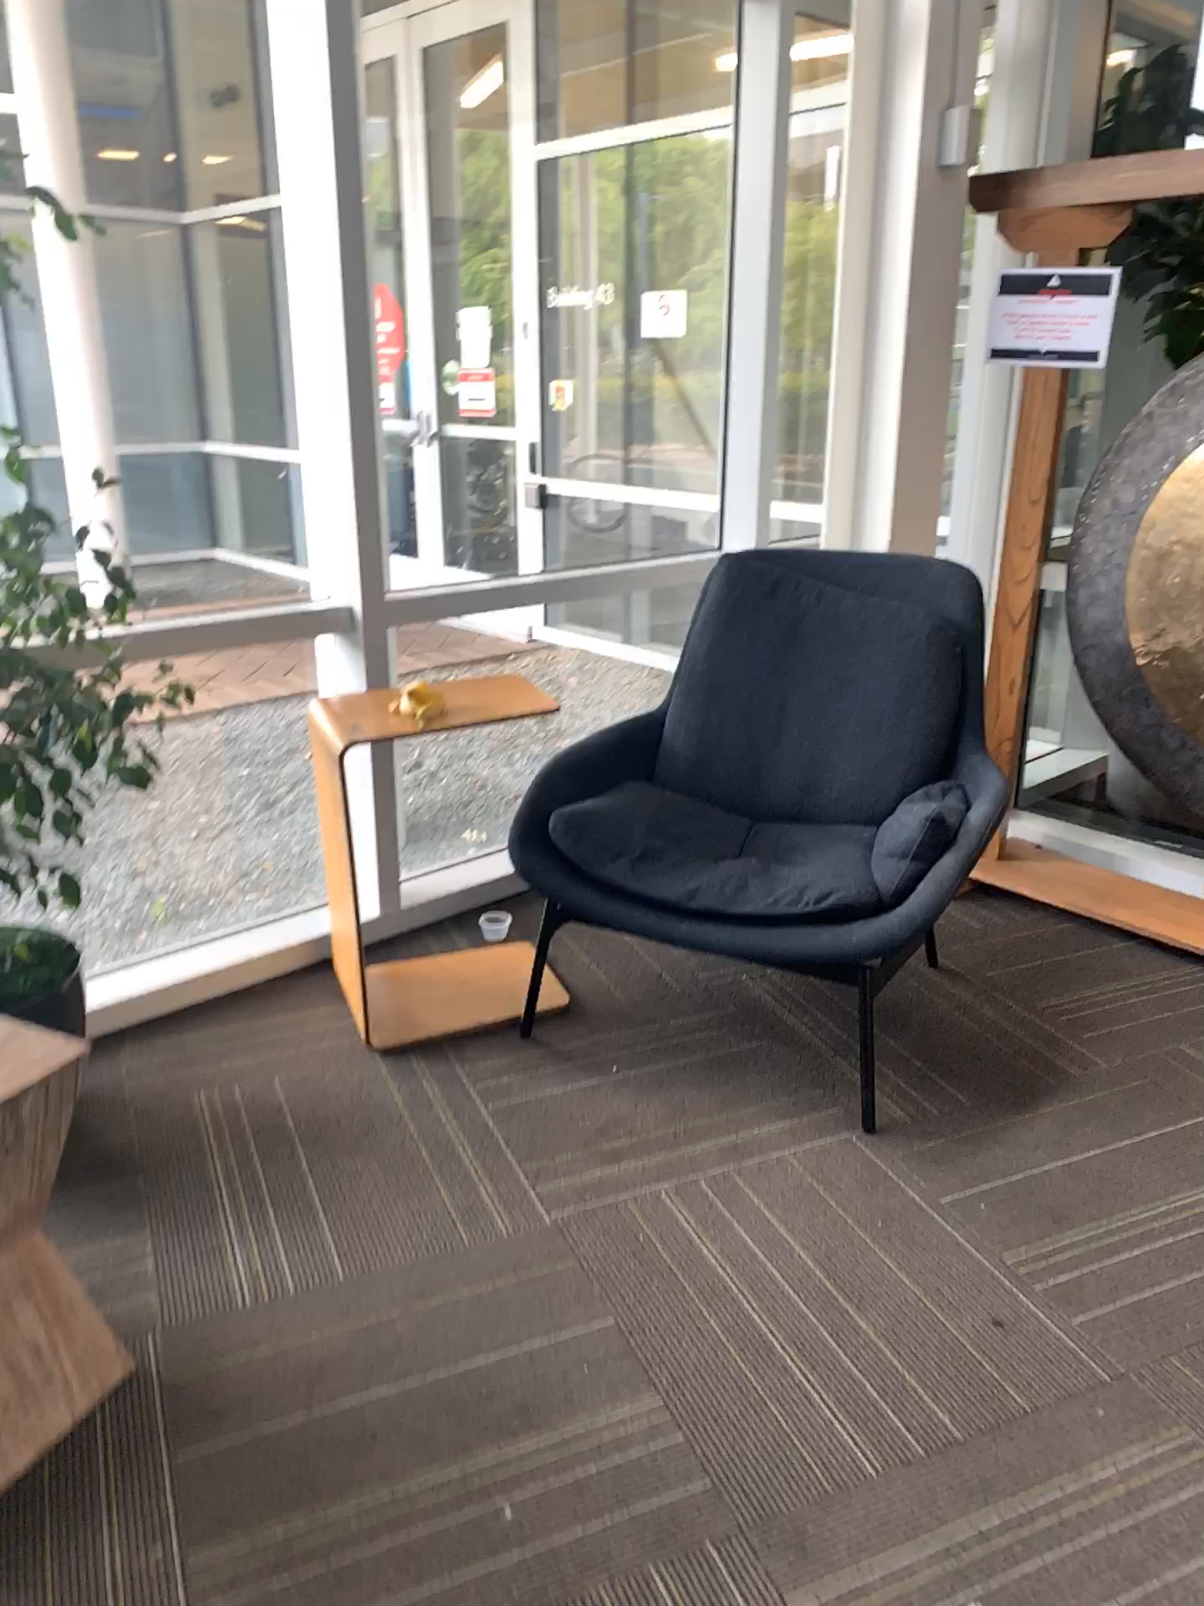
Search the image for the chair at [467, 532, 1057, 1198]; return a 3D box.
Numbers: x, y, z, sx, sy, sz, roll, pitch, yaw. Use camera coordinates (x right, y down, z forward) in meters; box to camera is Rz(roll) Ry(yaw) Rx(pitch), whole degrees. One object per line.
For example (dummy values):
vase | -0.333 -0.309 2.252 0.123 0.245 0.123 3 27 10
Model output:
chair | 0.365 0.014 2.568 0.902 0.996 0.942 9 21 24
